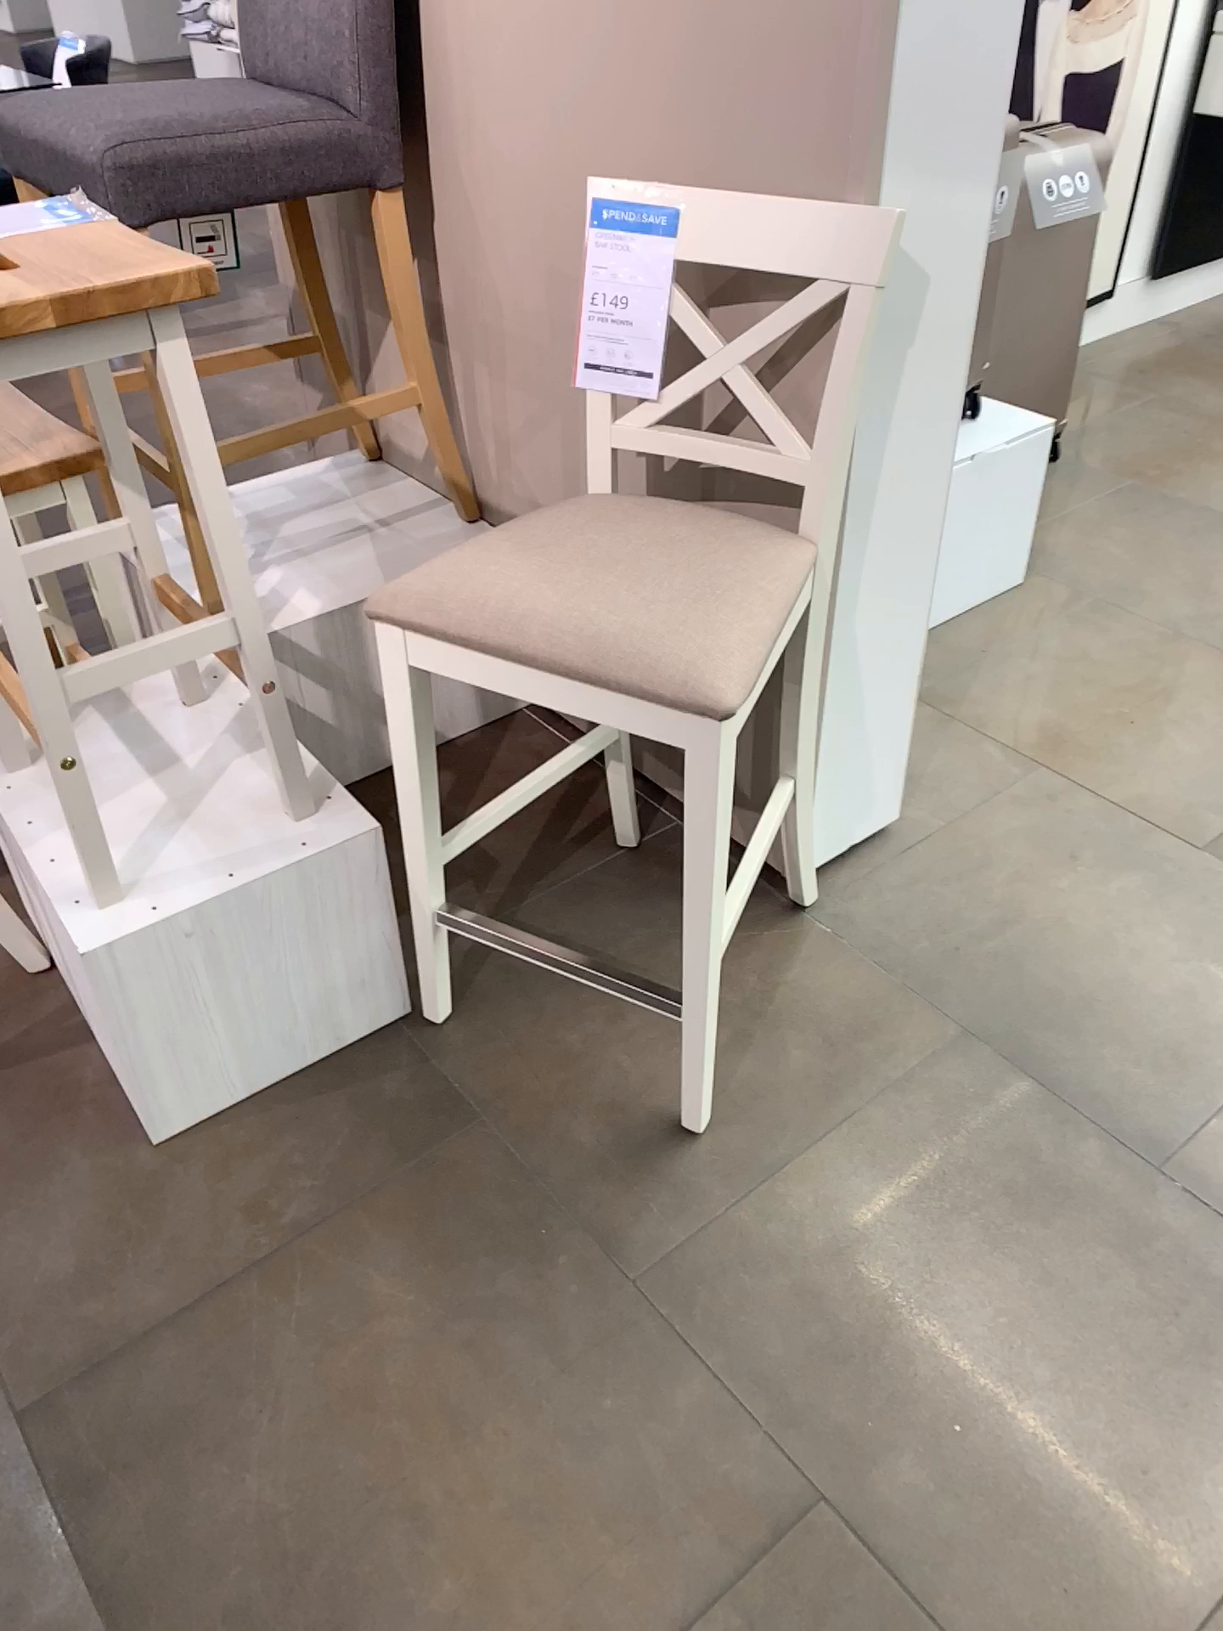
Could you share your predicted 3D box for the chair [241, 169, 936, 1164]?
[{"bbox_3d":[0.013,-0.172,1.461,0.450,0.938,0.541,18,41,24],"label":"chair"}]
